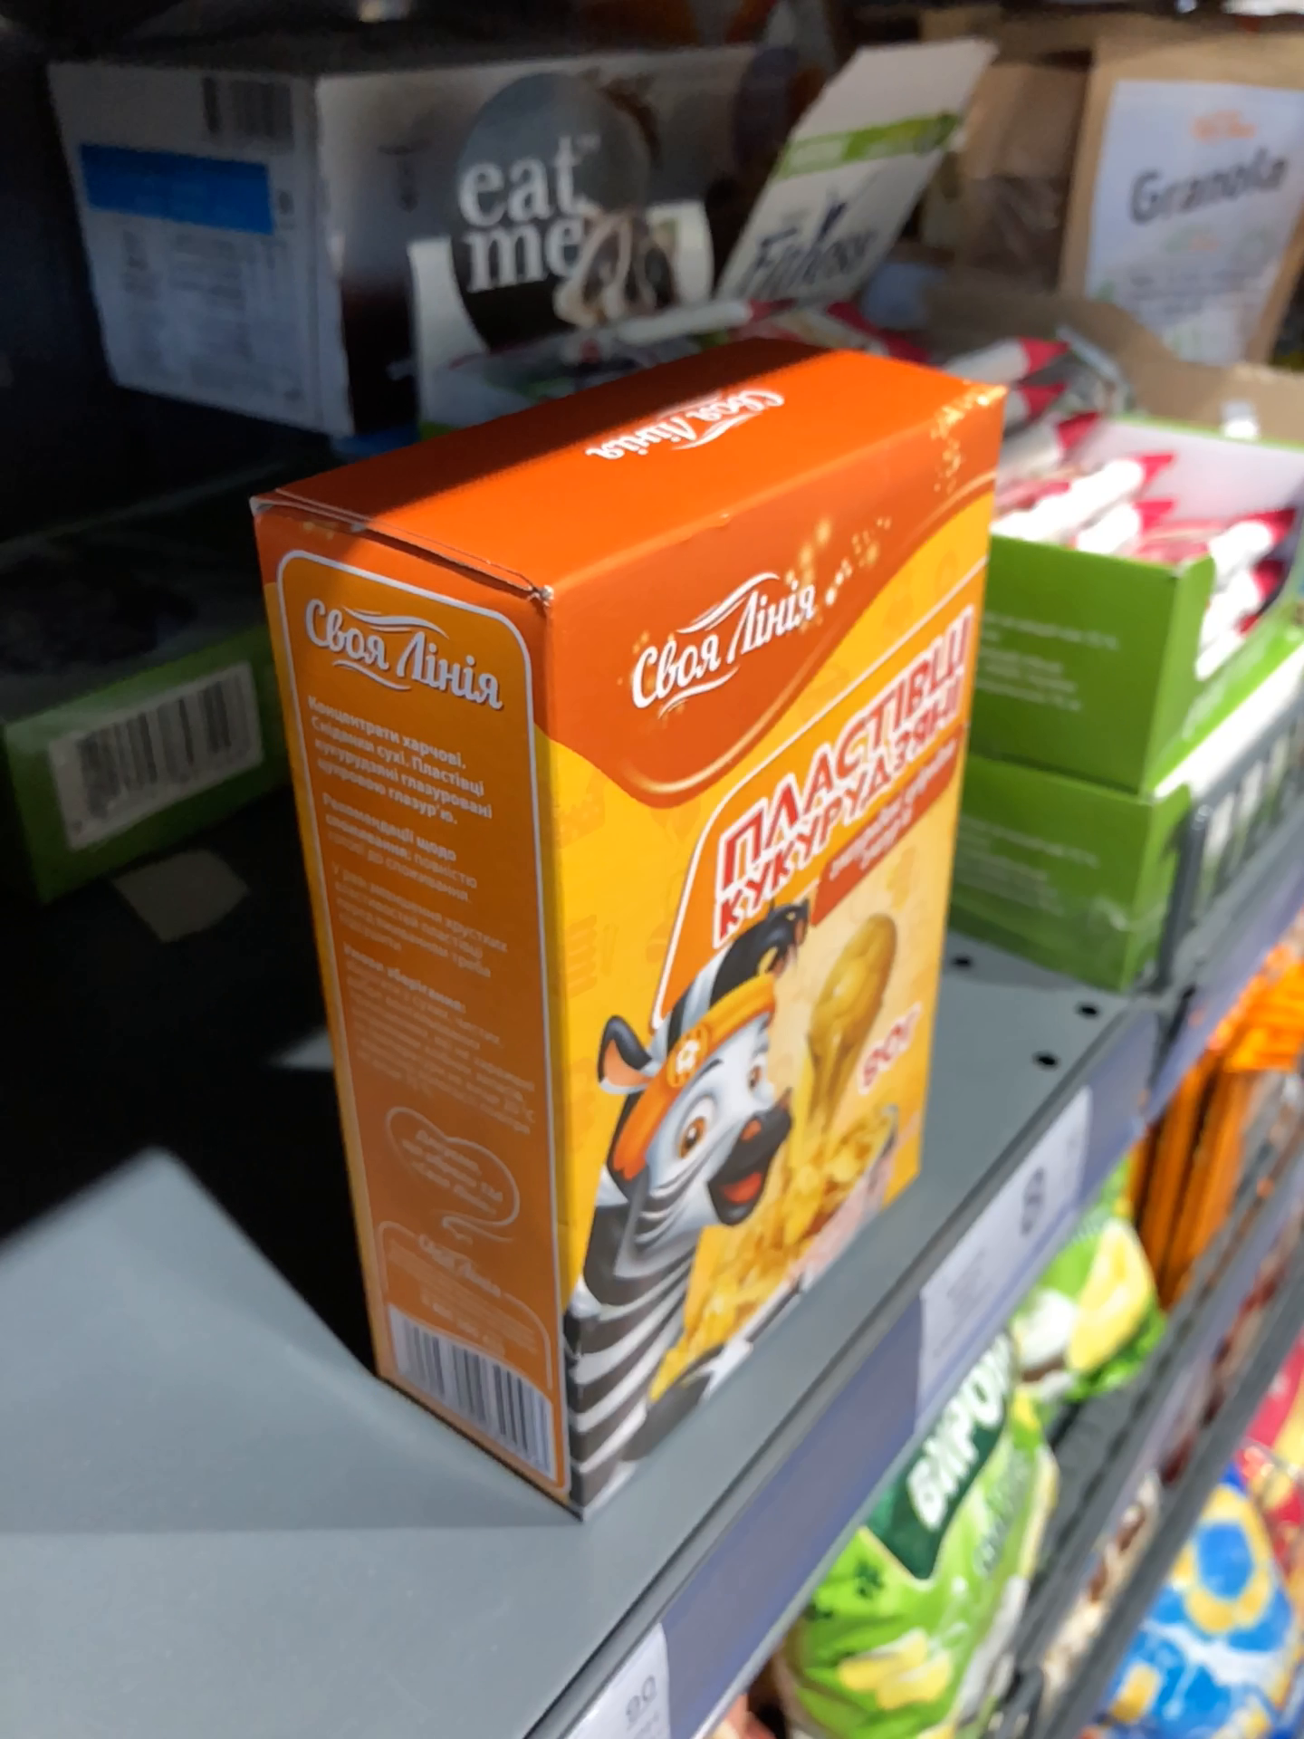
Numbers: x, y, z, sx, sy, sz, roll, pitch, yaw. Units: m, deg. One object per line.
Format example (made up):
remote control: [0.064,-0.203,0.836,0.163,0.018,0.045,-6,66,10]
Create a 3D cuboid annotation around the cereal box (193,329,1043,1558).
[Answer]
cereal box: [0.003,0.007,0.242,0.050,0.159,0.121,23,39,33]
